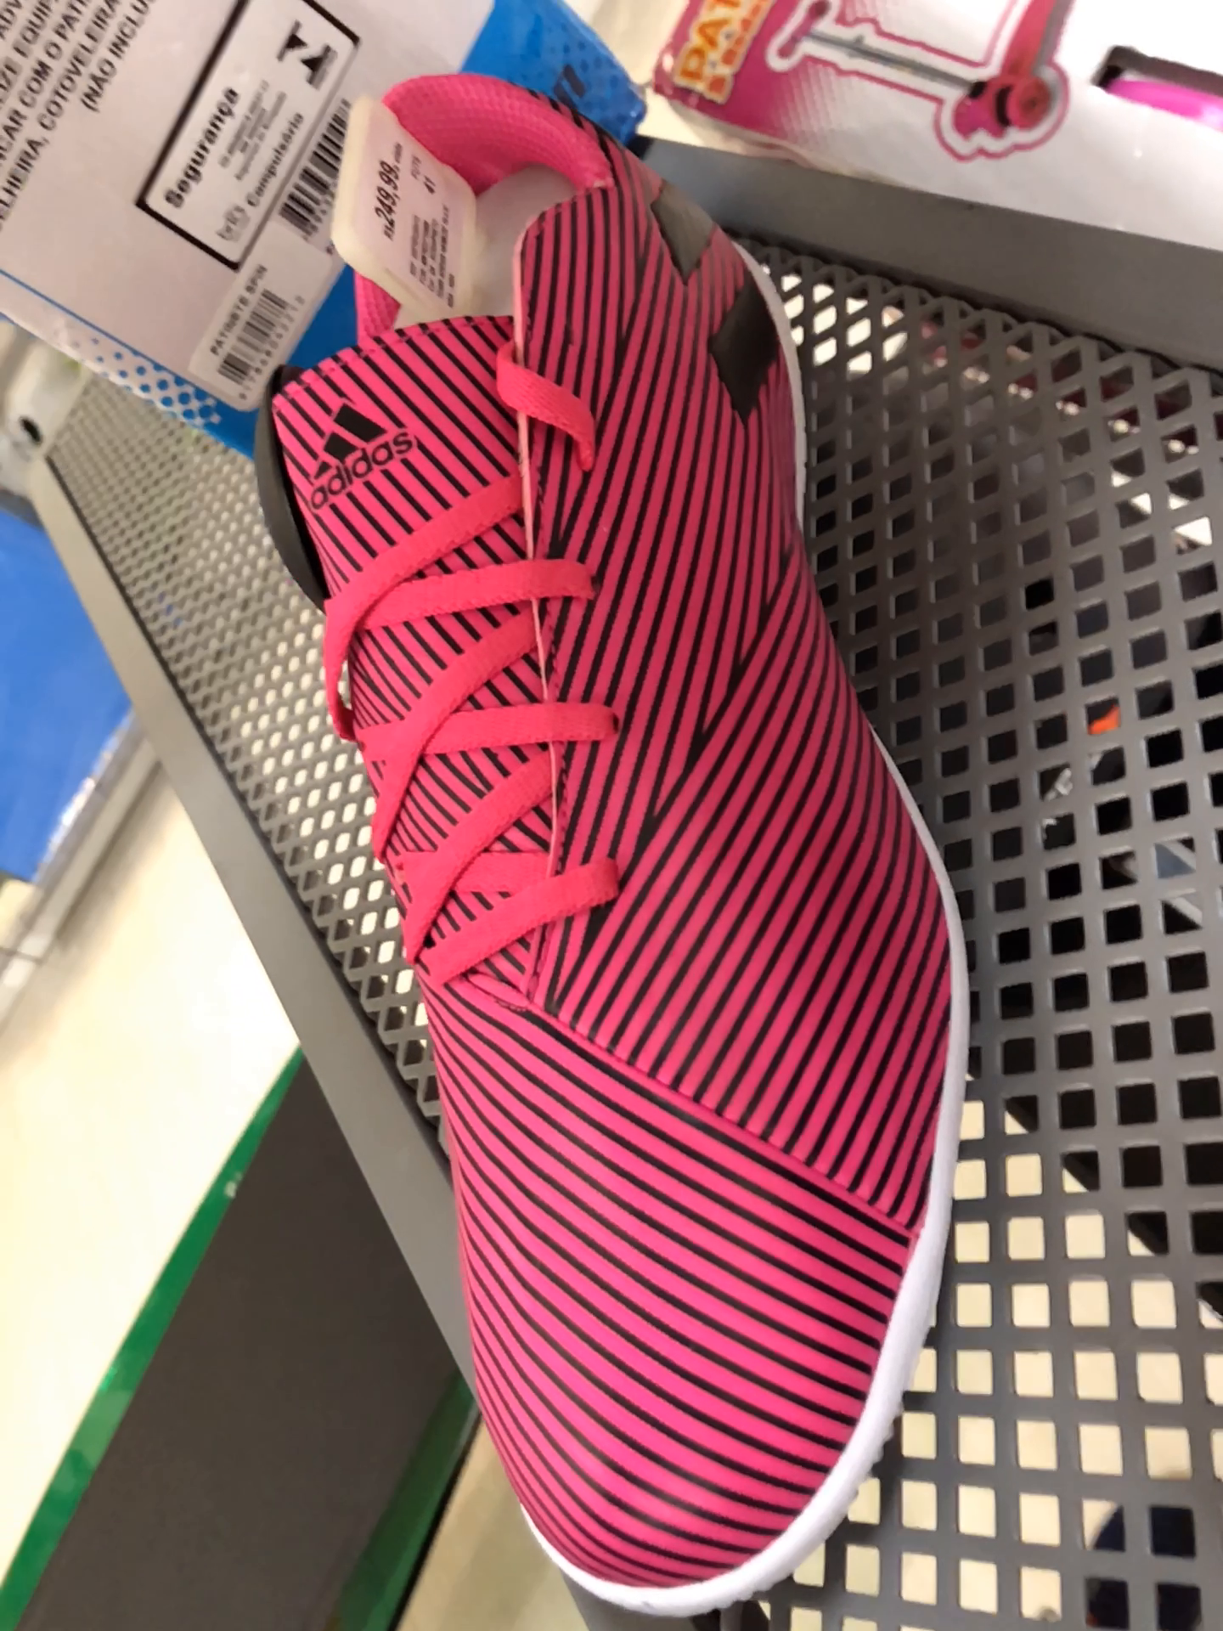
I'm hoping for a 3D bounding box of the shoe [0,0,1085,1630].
[{"bbox_3d":[-0.009,-0.015,0.227,0.096,0.099,0.261,-24,53,39],"label":"shoe"}]
